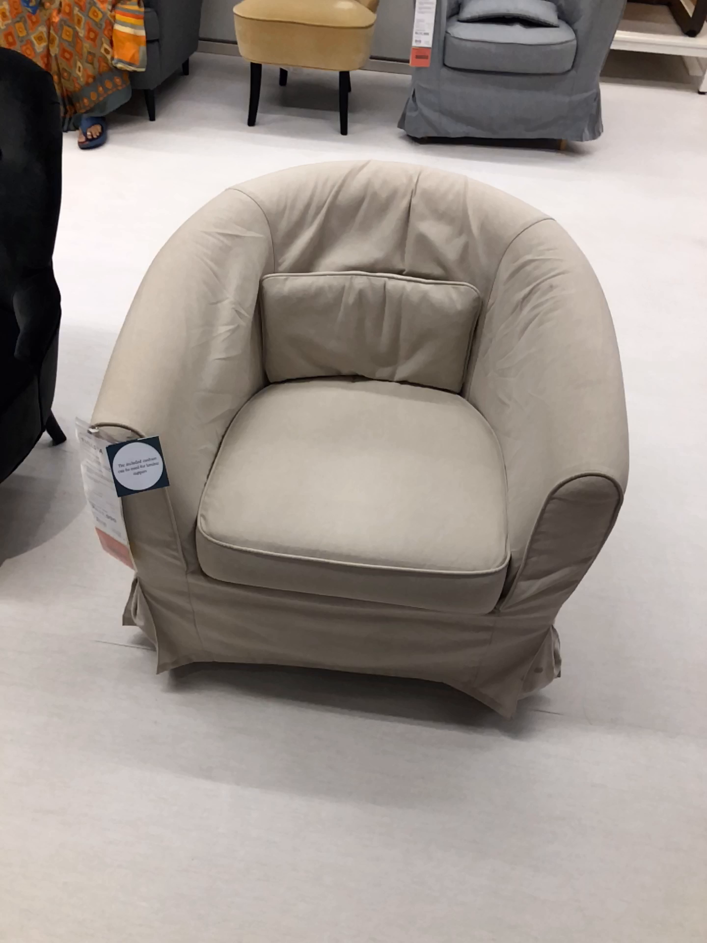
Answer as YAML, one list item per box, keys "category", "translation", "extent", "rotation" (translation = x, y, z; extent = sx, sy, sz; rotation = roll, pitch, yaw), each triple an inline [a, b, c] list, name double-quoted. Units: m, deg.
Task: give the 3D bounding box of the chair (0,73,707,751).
- category: "chair"
  translation: [0.008, -0.089, 1.313]
  extent: [0.860, 0.805, 0.704]
  rotation: [6, 46, 2]
